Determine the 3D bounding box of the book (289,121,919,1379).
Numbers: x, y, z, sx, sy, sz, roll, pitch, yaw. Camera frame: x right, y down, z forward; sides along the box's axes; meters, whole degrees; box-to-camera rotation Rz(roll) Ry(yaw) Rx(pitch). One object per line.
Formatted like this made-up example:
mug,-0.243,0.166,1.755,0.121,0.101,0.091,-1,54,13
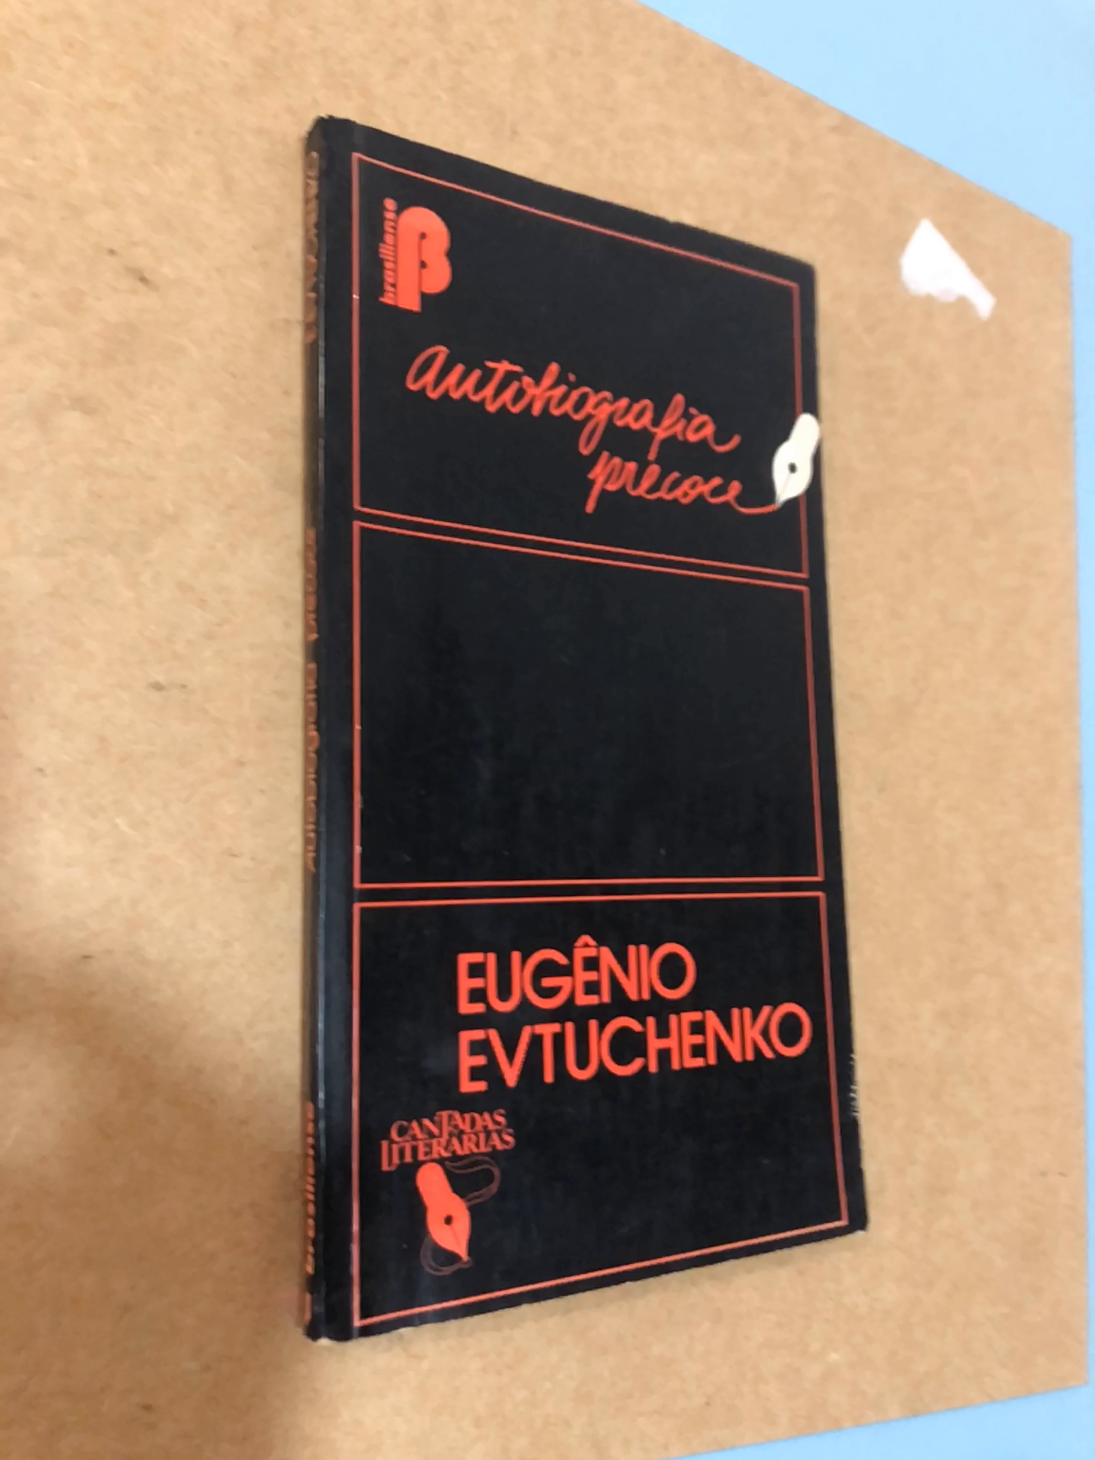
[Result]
book,0.013,0.000,0.218,0.114,0.016,0.190,3,80,-29
